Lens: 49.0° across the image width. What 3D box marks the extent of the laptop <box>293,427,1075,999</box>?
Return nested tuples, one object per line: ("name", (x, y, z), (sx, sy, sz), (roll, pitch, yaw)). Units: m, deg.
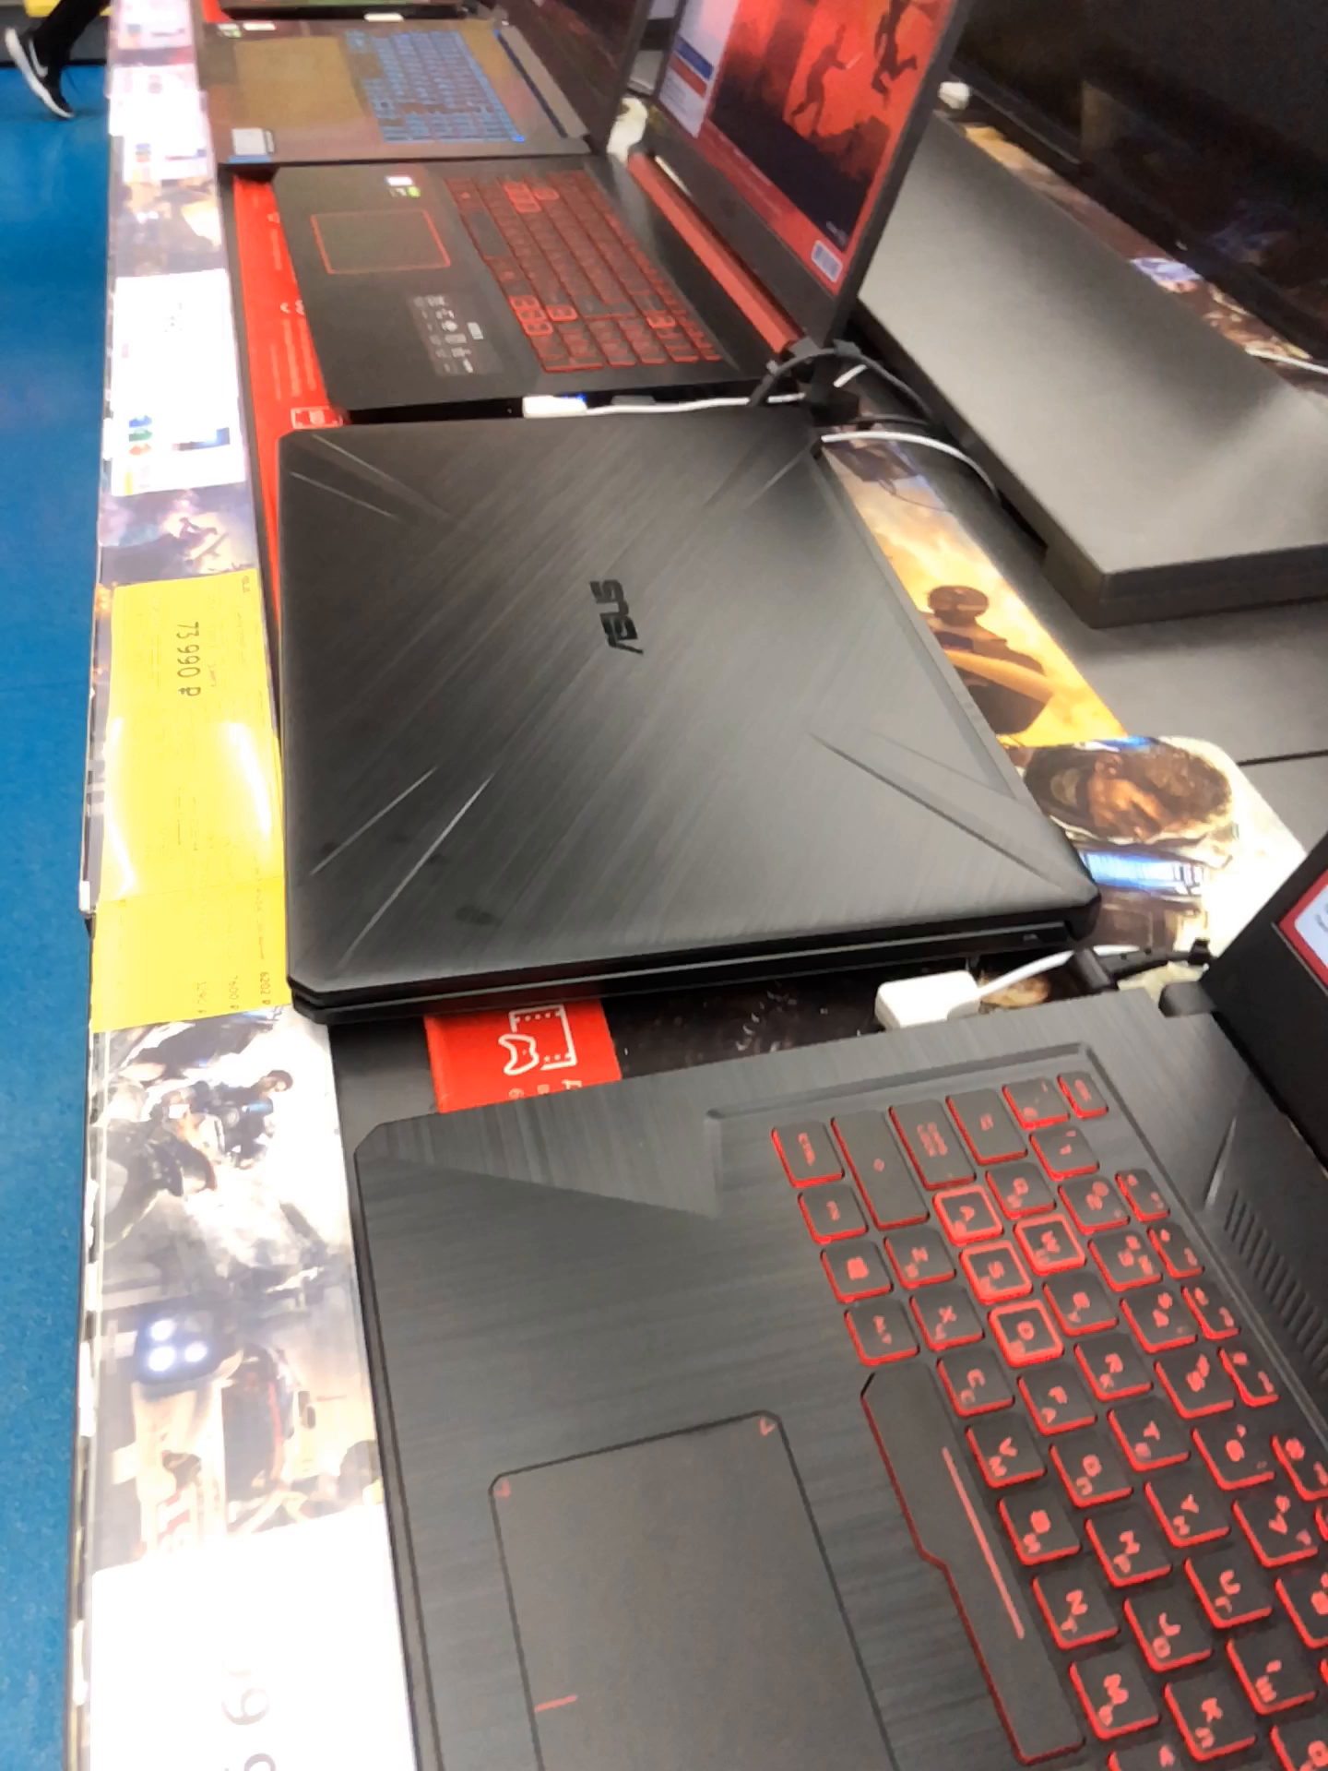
("laptop", (-0.022, -0.105, 0.616), (0.261, 0.001, 0.387), (-5, 42, -10))
